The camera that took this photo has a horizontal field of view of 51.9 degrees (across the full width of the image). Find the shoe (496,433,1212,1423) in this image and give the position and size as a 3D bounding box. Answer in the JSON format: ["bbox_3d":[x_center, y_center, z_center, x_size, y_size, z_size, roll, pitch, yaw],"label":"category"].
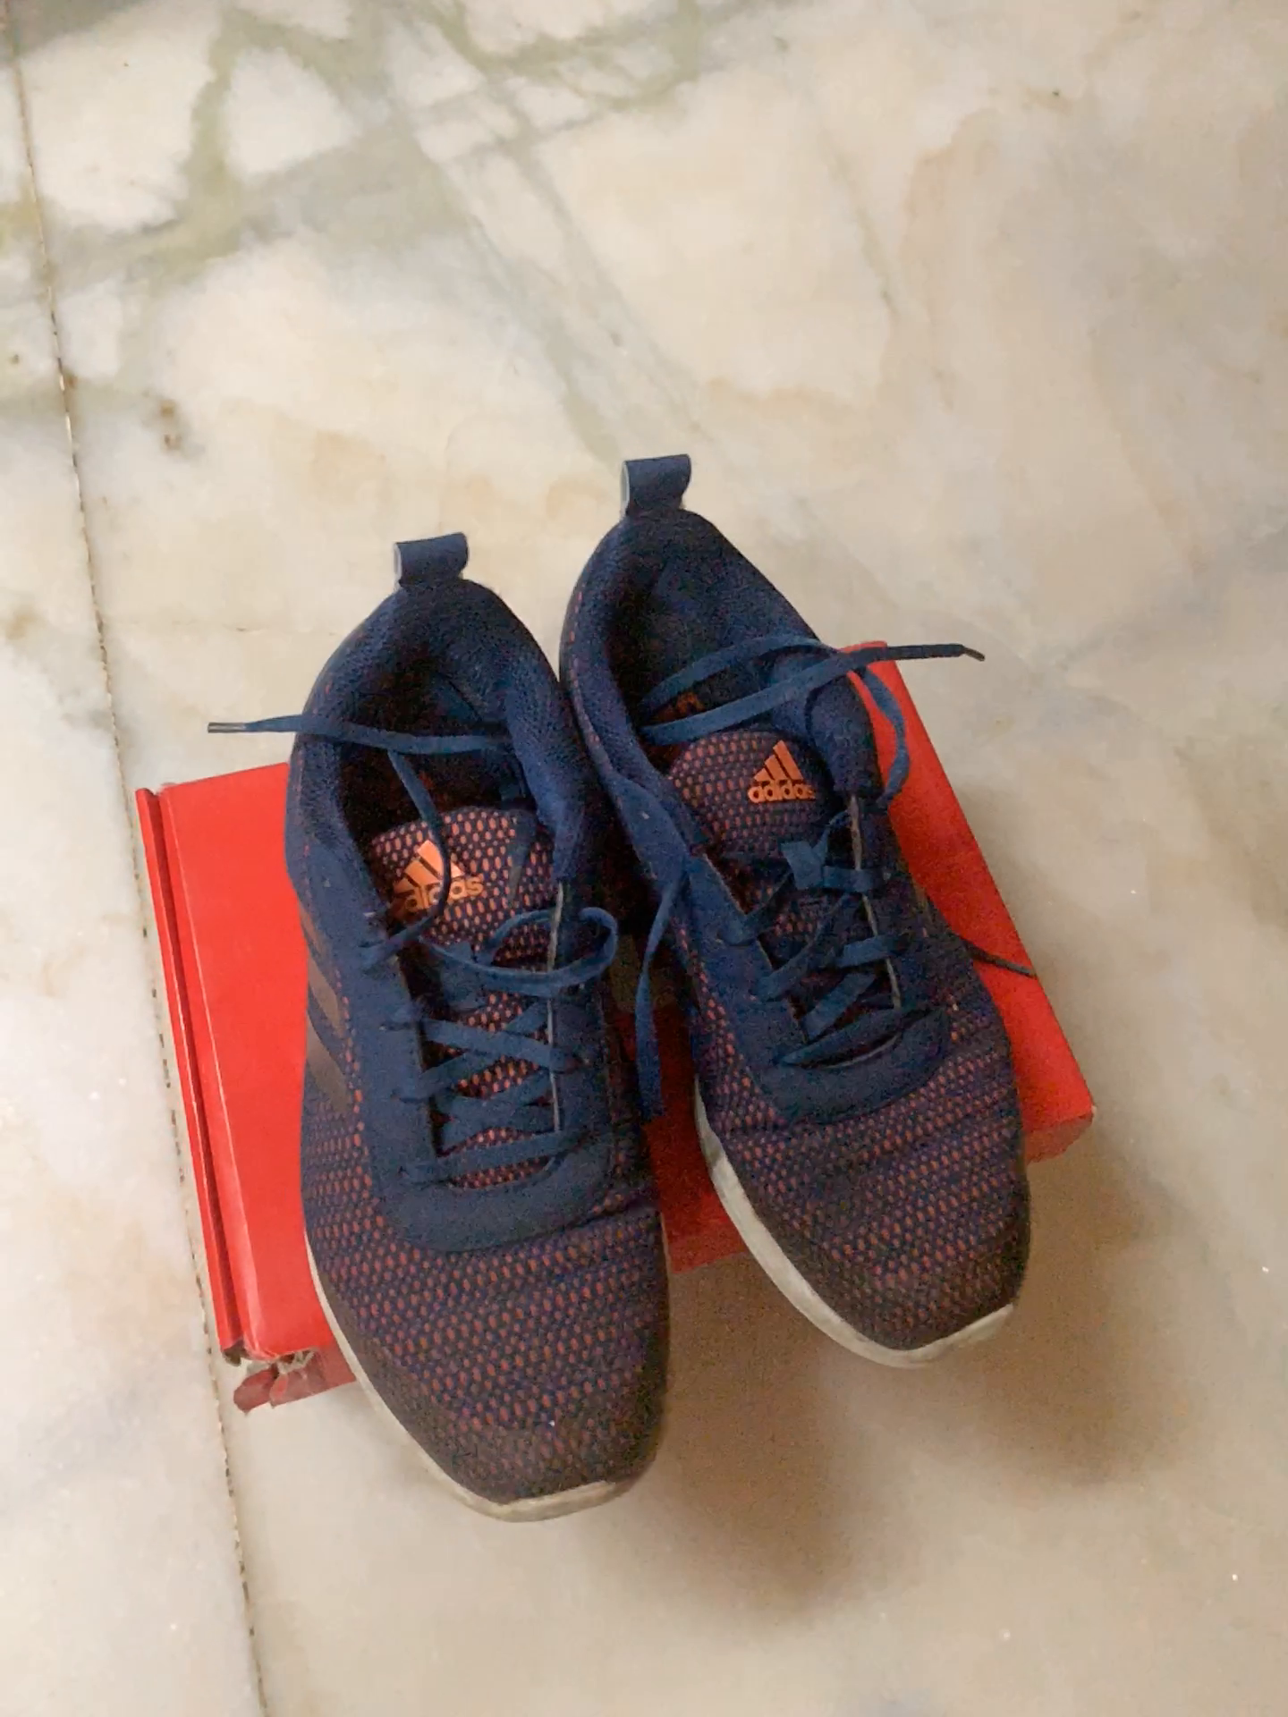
[{"bbox_3d":[0.045,0.012,0.410,0.100,0.080,0.281,-16,68,-14],"label":"shoe"}]

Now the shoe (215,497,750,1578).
[{"bbox_3d":[-0.061,0.043,0.417,0.100,0.100,0.301,-9,67,-11],"label":"shoe"}]
